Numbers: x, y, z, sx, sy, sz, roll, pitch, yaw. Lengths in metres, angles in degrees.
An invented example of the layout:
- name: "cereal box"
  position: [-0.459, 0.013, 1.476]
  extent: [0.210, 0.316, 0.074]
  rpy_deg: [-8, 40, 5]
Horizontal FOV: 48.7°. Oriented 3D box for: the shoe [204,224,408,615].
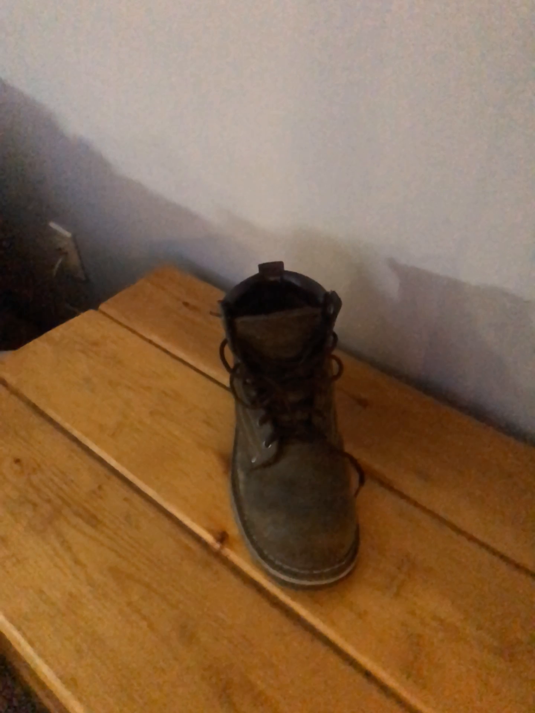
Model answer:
- name: "shoe"
  position: [0.013, 0.040, 0.568]
  extent: [0.130, 0.189, 0.321]
  rpy_deg: [-4, 41, -4]
